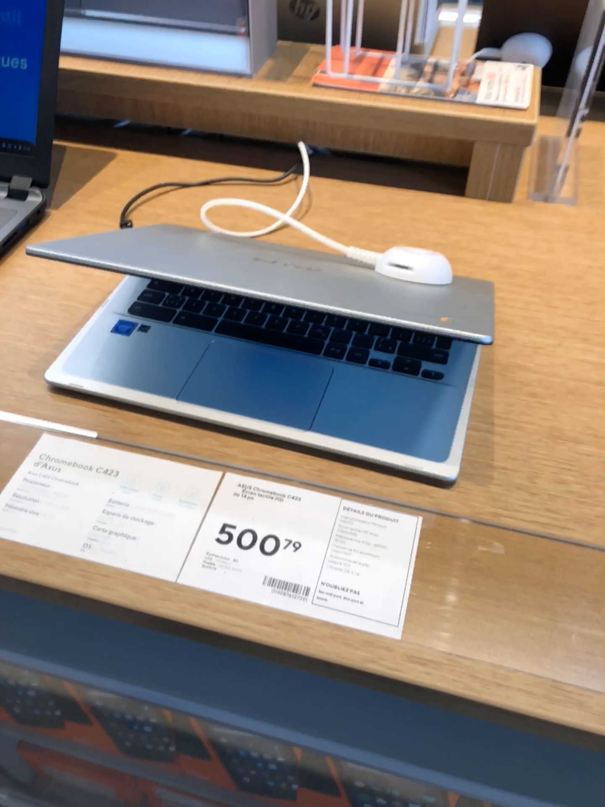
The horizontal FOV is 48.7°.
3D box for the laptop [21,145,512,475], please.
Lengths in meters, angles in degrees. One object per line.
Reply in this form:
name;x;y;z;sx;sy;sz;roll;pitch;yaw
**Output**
laptop;-0.012;-0.087;0.514;0.304;0.080;0.206;13;50;10
